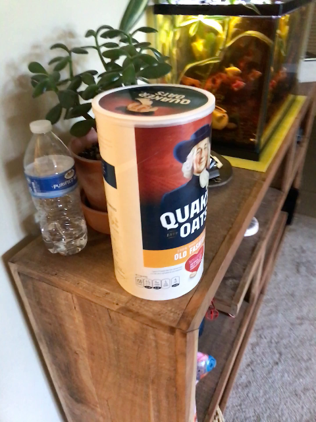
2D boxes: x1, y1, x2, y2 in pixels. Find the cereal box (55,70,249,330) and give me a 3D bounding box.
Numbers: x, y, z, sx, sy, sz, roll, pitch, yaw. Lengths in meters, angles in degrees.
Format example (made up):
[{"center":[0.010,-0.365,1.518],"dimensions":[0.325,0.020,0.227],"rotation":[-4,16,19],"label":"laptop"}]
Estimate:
[{"center":[-0.003,-0.018,0.419],"dimensions":[0.140,0.248,0.141],"rotation":[24,41,30],"label":"cereal box"}]
